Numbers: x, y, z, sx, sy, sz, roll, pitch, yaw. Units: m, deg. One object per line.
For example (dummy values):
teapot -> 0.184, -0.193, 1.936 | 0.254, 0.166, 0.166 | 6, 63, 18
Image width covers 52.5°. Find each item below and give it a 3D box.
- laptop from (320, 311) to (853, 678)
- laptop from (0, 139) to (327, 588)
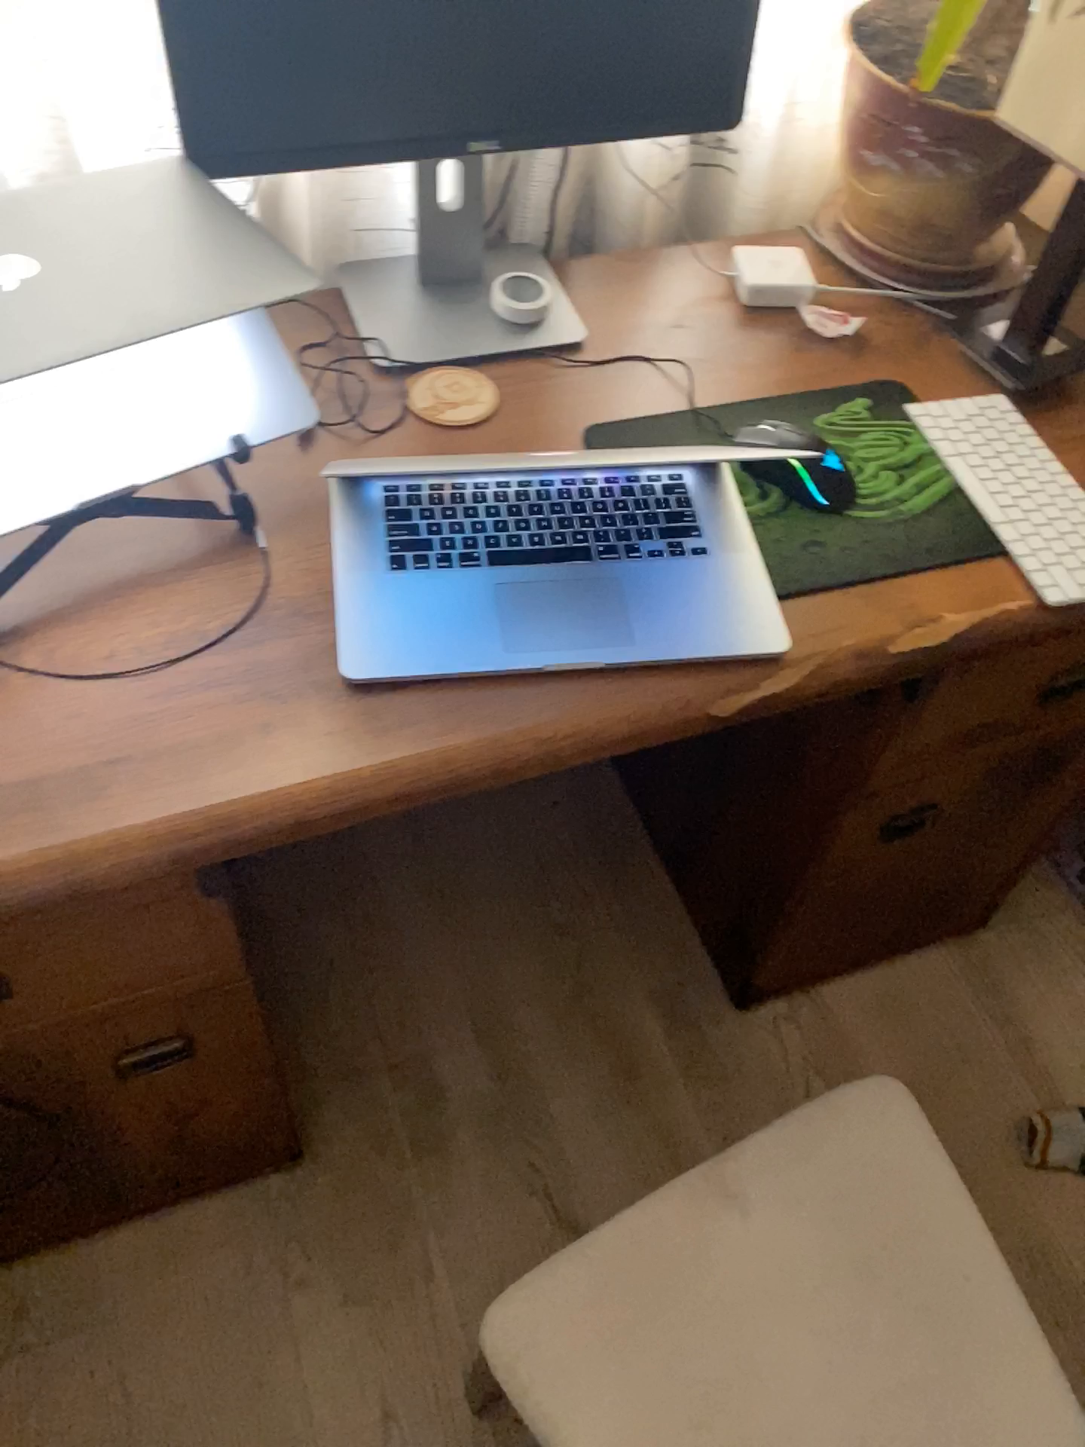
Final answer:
laptop -> 0.015, -0.185, 0.859 | 0.355, 0.152, 0.236 | -4, 53, -9
laptop -> -0.374, -0.276, 0.798 | 0.355, 0.022, 0.243 | -27, 84, -24
